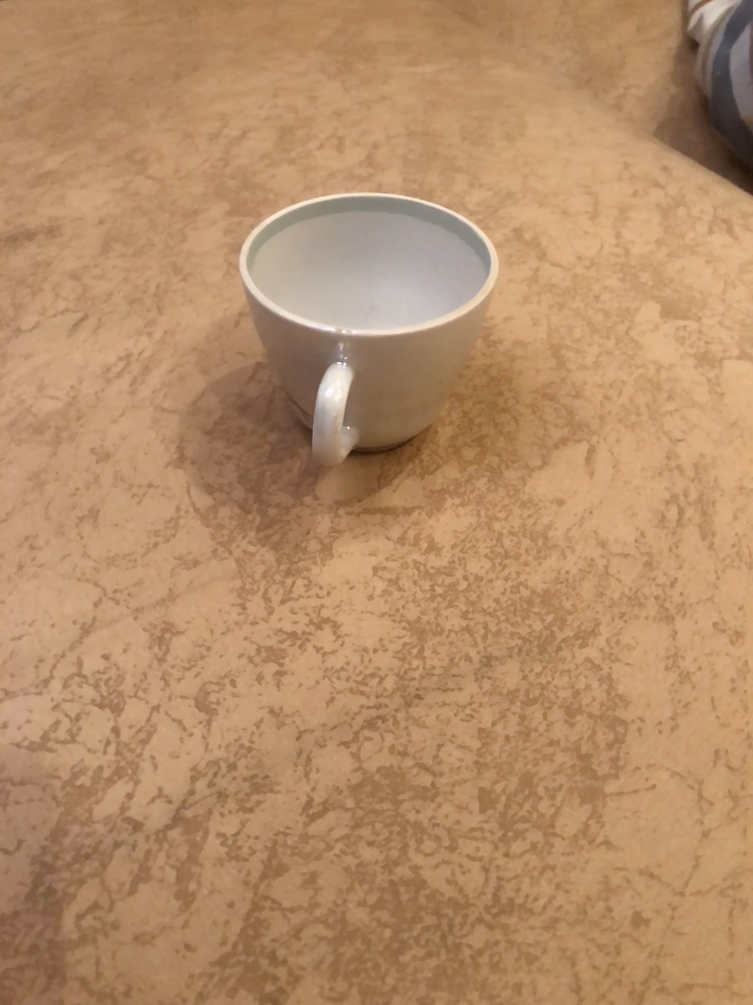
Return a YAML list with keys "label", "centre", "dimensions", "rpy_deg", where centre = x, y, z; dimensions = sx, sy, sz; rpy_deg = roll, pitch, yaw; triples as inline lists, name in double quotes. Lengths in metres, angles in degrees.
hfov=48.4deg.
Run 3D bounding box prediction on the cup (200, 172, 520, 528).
- label: "cup"
  centre: [0.000, -0.057, 0.295]
  dimensions: [0.090, 0.060, 0.110]
  rpy_deg: [7, 47, 3]
